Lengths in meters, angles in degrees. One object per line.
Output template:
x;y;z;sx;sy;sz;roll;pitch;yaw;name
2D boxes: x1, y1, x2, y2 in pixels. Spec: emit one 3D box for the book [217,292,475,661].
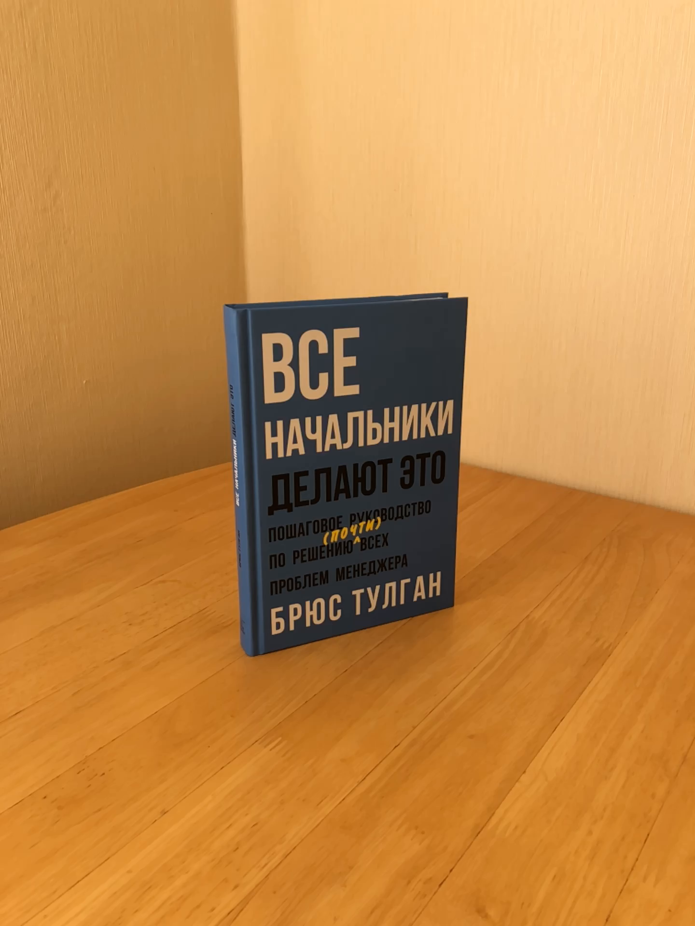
0.002;0.006;0.470;0.150;0.208;0.025;-8;19;-23;book
